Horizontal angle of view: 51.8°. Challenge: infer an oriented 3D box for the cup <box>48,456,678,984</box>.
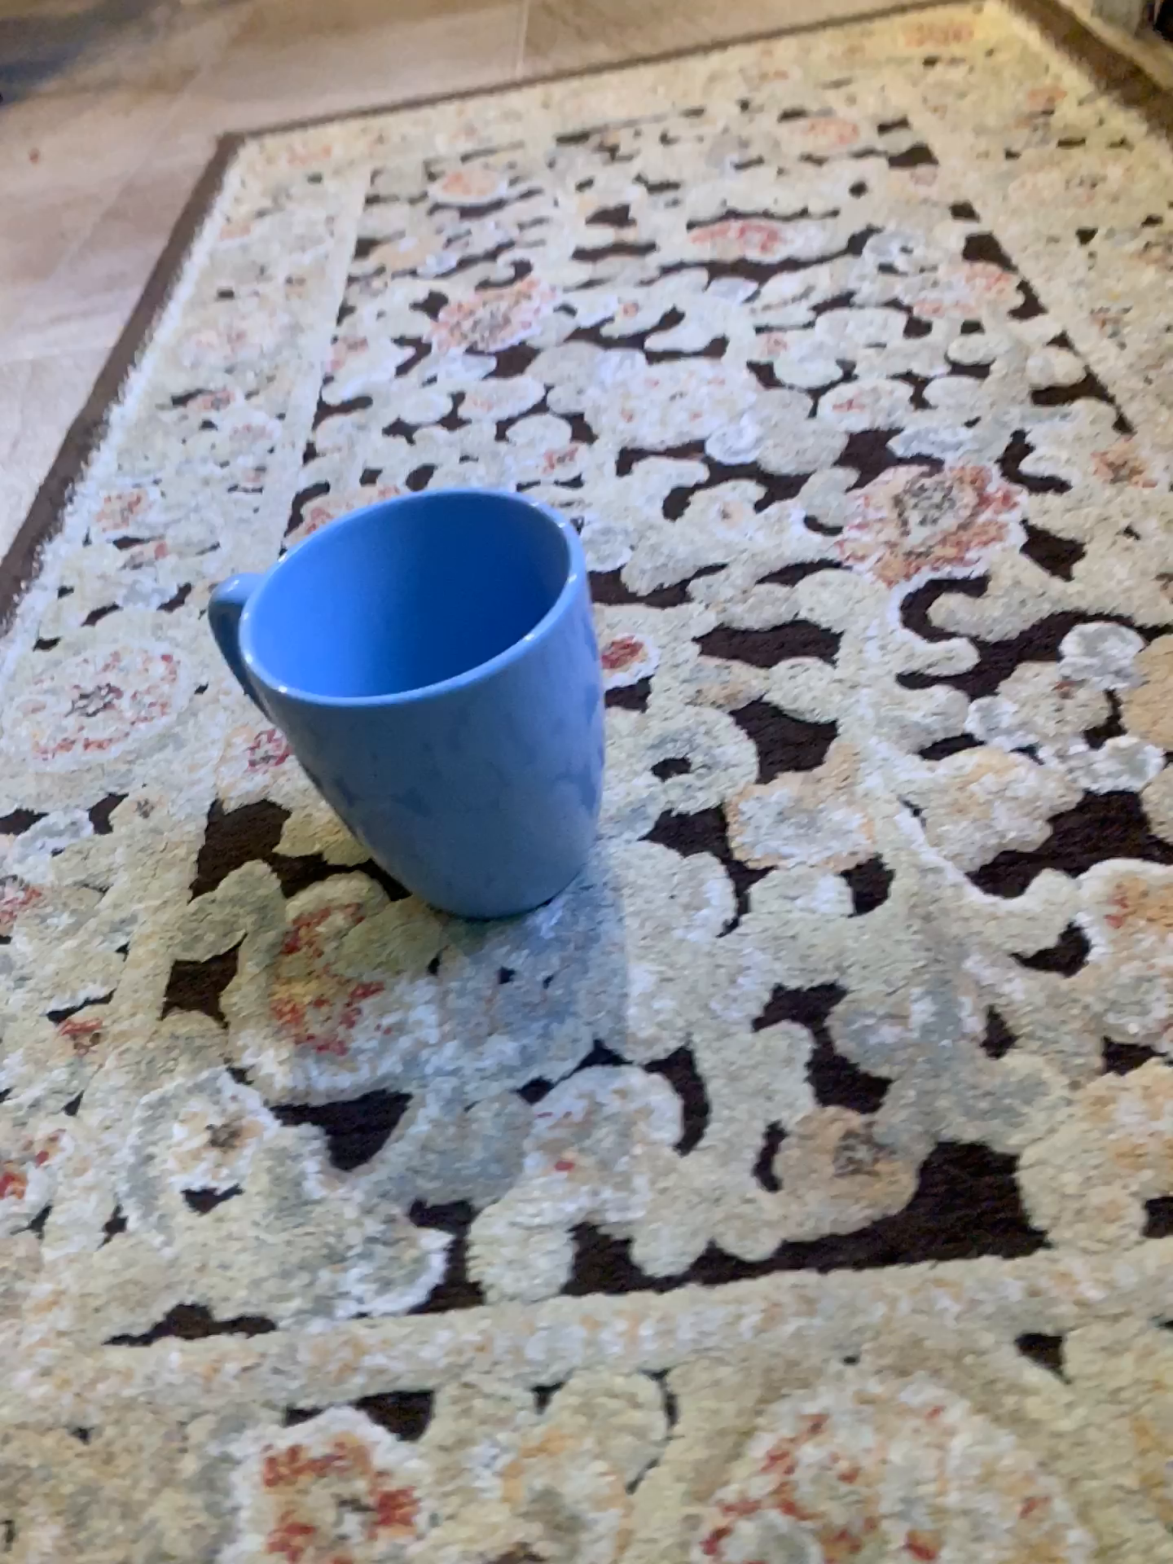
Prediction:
[{"bbox_3d":[-0.051,-0.021,0.328,0.120,0.089,0.091,10,49,22],"label":"cup"}]
